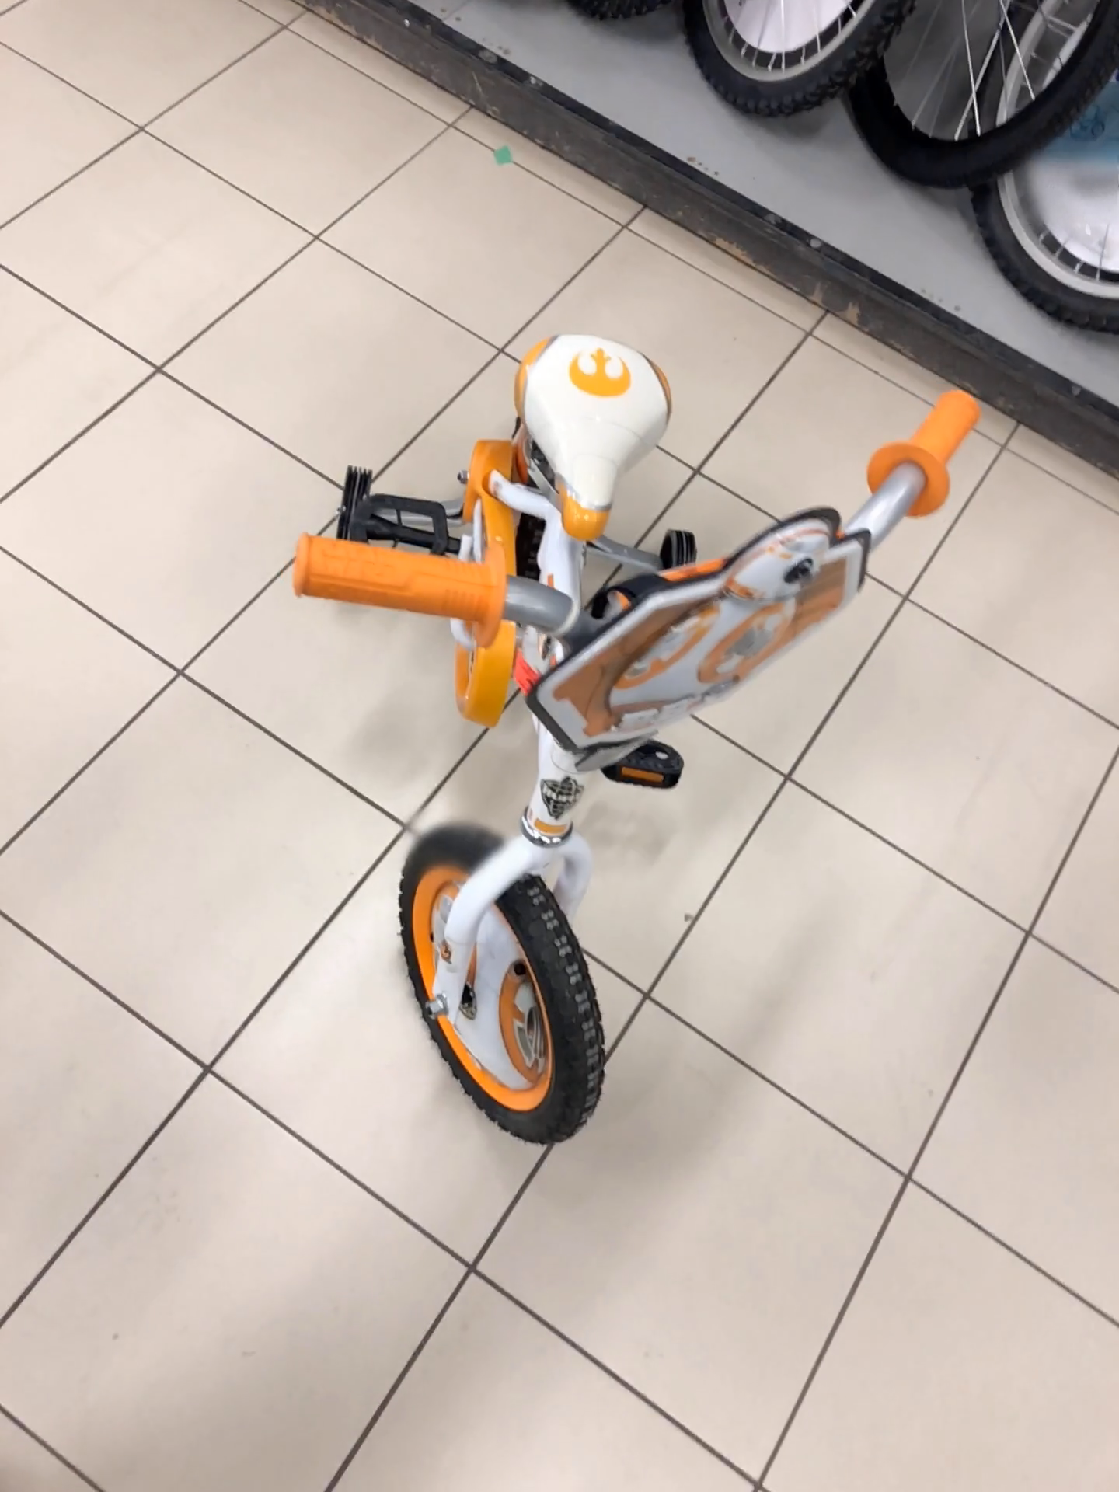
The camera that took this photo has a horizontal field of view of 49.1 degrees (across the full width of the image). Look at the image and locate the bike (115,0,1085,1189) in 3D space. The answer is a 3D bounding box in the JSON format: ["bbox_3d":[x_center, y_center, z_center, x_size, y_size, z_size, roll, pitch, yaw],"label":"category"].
[{"bbox_3d":[-0.017,-0.134,1.029,0.435,0.715,0.817,1,65,-8],"label":"bike"}]
